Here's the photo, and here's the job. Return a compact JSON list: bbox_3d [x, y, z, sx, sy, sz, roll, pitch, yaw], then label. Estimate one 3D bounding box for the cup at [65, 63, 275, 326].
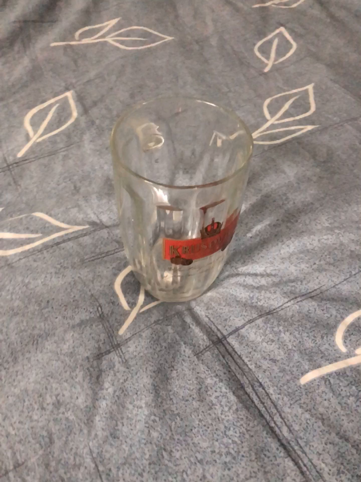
[{"bbox_3d":[-0.010,-0.036,0.316,0.091,0.136,0.128,-23,53,-15],"label":"cup"}]
